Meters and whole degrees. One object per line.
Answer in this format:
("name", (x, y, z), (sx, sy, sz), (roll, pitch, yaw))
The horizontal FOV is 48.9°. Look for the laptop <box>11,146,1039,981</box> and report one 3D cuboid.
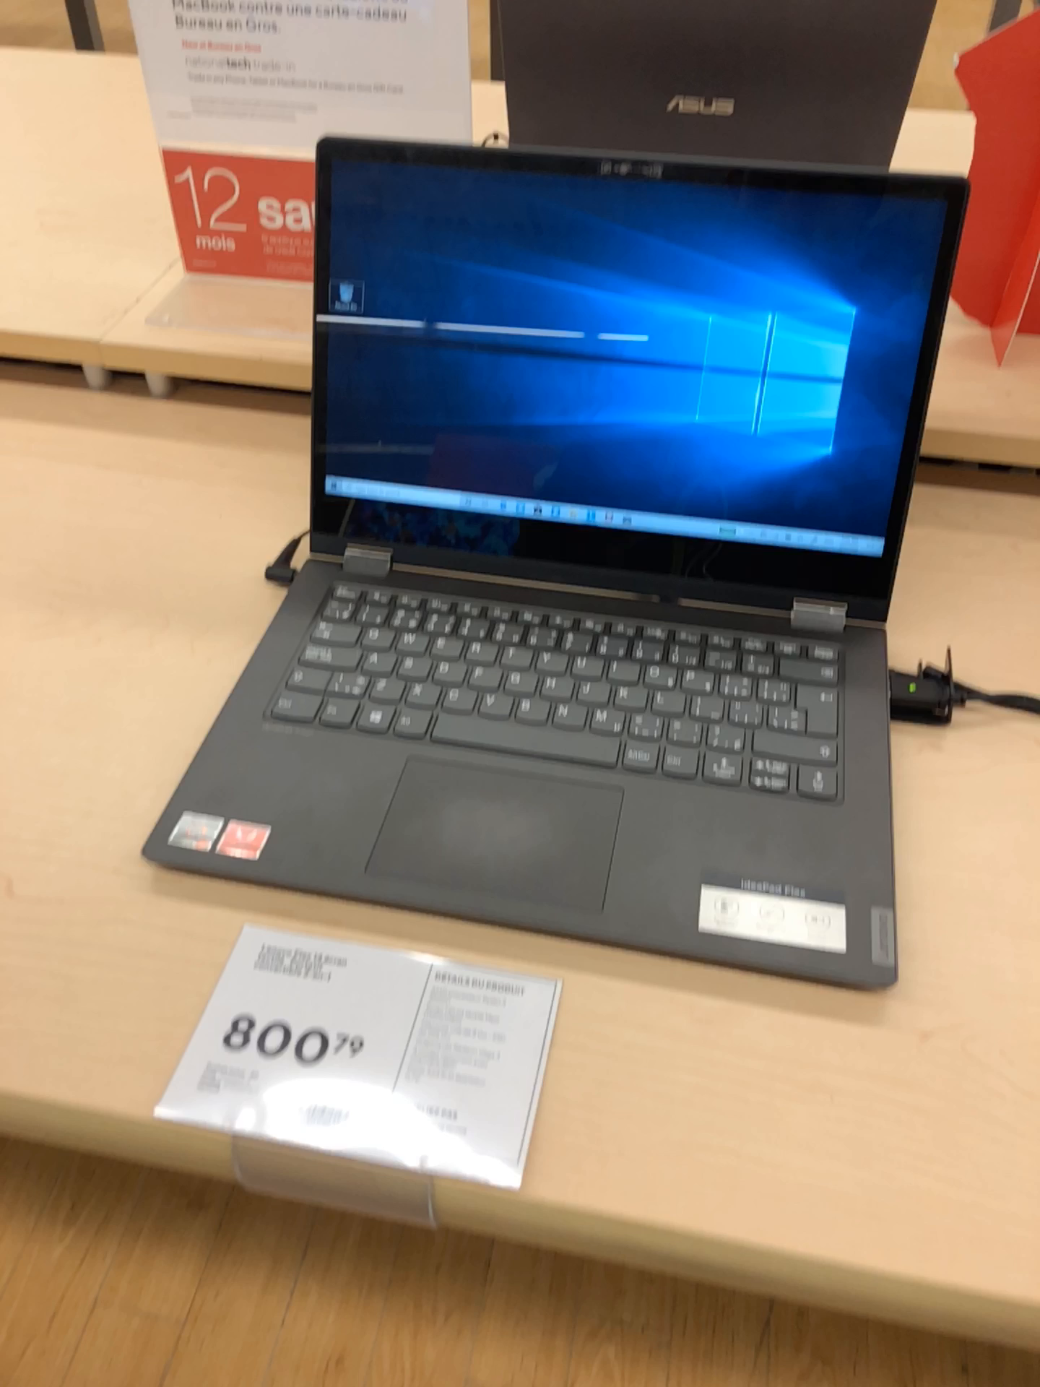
("laptop", (0.024, -0.082, 0.521), (0.319, 0.198, 0.307), (8, 45, 9))
